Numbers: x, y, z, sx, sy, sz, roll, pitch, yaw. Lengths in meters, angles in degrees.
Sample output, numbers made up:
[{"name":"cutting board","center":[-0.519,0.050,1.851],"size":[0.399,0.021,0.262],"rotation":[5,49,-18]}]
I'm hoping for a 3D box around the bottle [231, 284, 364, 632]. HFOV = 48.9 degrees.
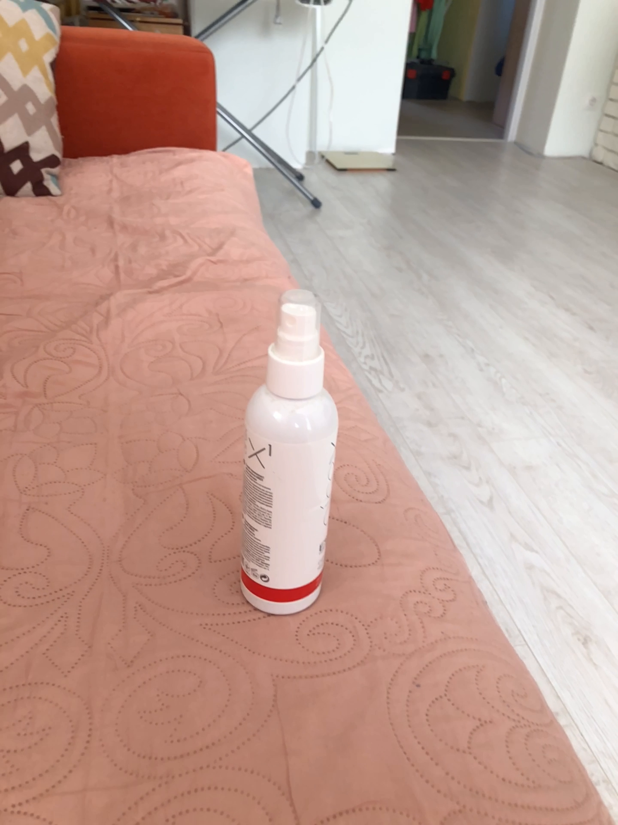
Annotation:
[{"name":"bottle","center":[-0.008,0.028,0.337],"size":[0.050,0.169,0.050],"rotation":[3,32,-2]}]
